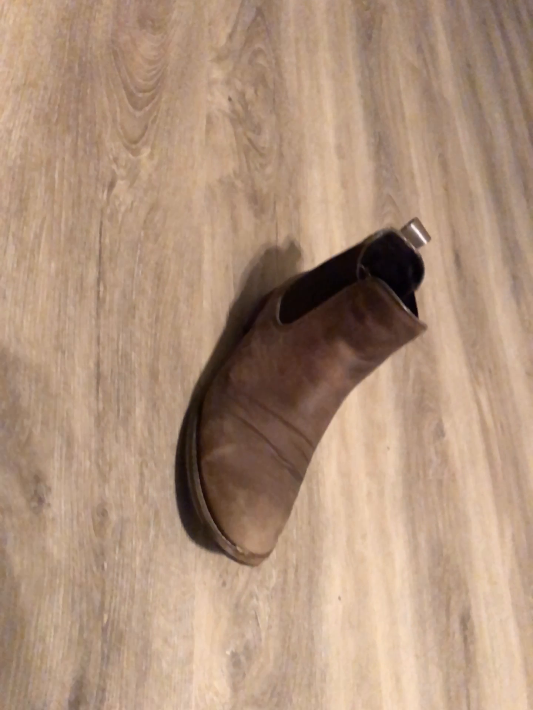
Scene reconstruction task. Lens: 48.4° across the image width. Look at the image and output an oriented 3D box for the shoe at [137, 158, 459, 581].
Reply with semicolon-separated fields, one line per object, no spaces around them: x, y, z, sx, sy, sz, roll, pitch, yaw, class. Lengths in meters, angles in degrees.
0.035;0.008;0.396;0.100;0.139;0.241;40;47;-27;shoe
